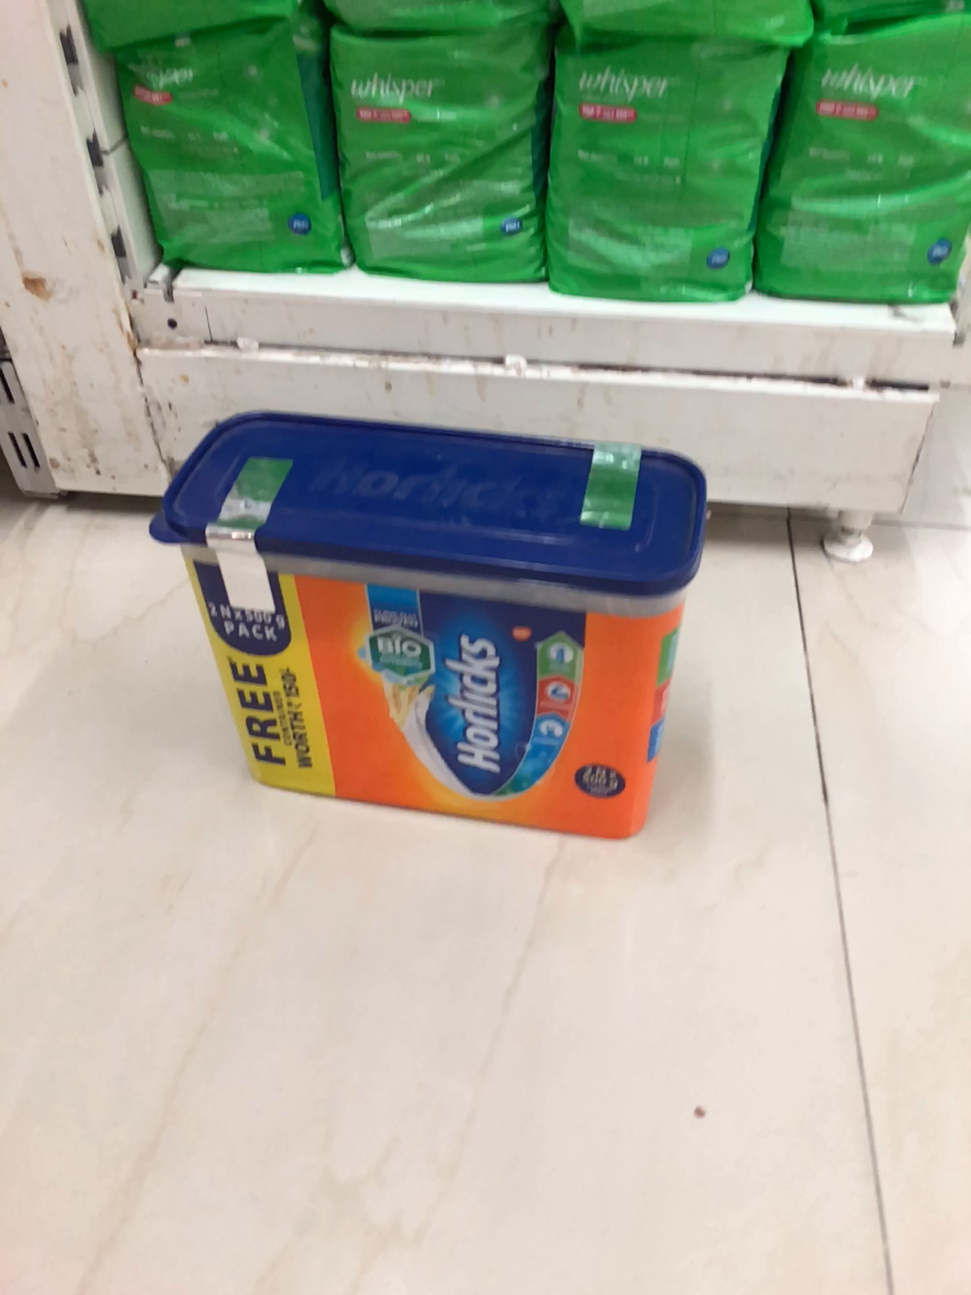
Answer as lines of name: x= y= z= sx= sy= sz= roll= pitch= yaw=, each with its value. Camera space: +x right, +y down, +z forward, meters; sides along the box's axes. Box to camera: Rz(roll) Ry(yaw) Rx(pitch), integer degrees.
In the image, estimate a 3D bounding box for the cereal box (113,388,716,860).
cereal box: x=-0.021 y=-0.010 z=0.475 sx=0.220 sy=0.159 sz=0.101 roll=7 pitch=43 yaw=9
